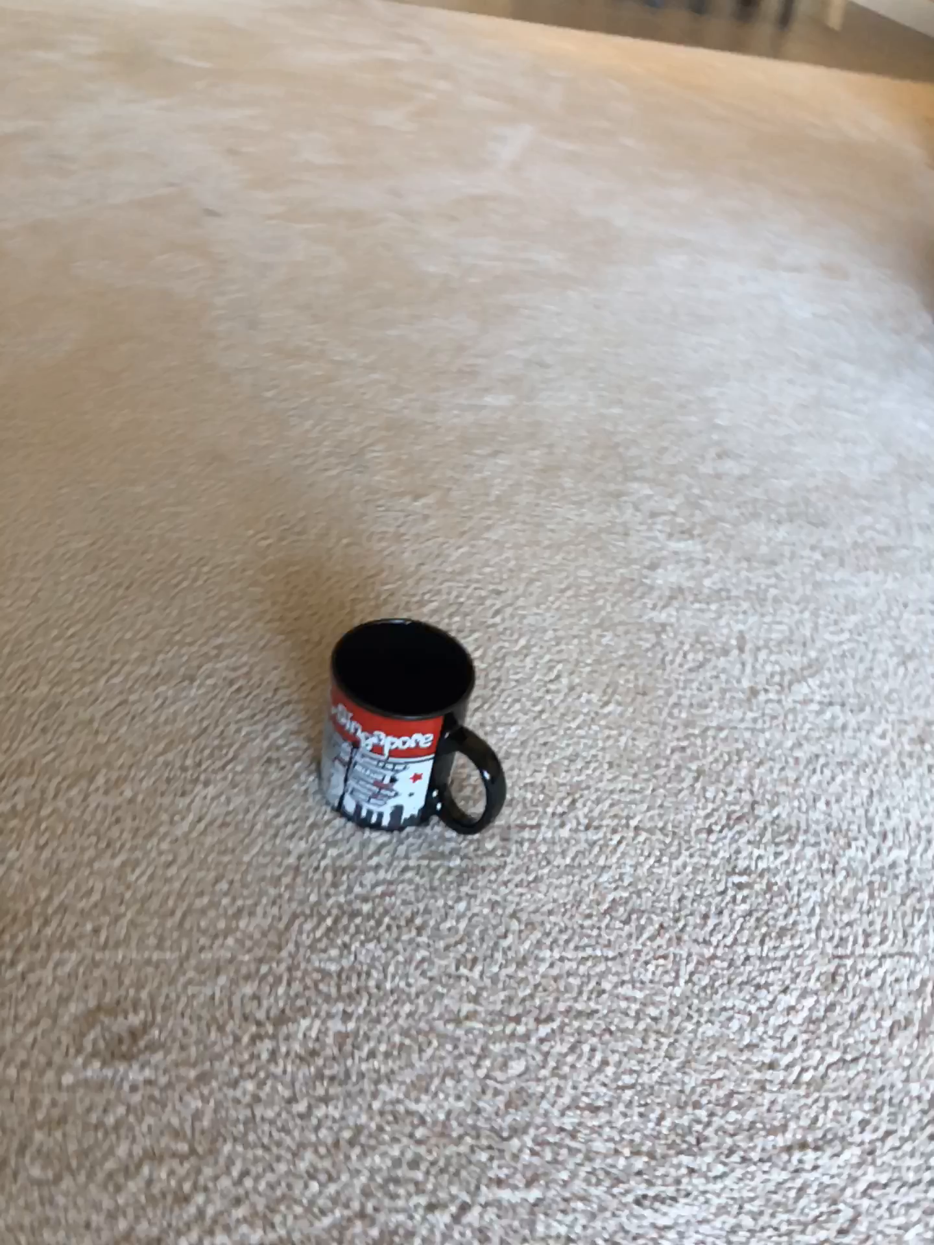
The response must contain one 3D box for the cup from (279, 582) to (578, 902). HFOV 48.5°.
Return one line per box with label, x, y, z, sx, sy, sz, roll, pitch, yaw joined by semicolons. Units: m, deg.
cup;-0.026;0.061;0.575;0.130;0.090;0.090;37;44;29
